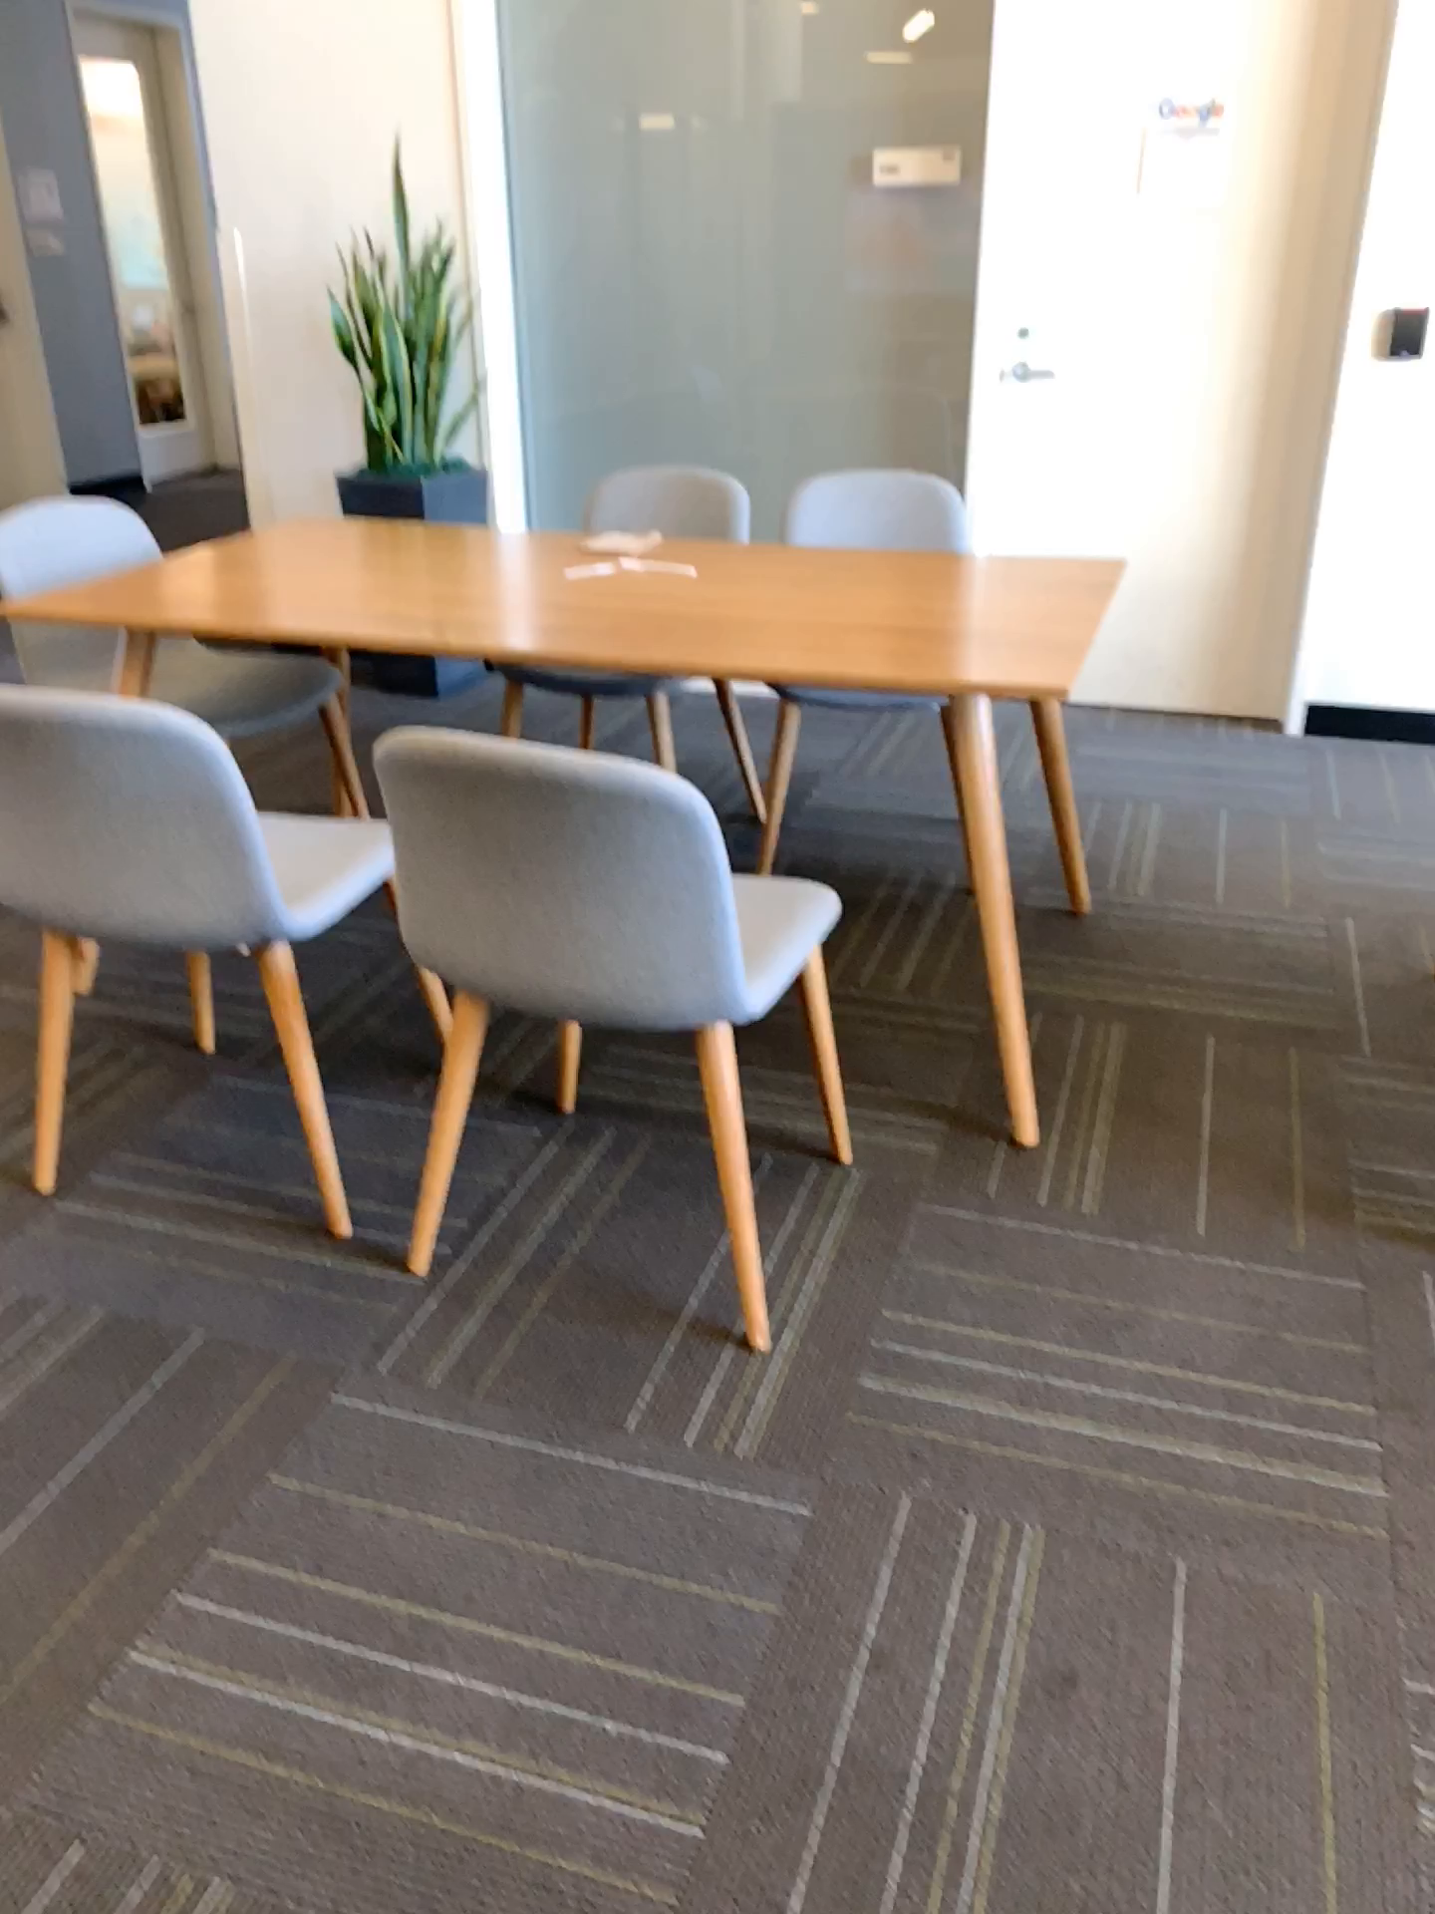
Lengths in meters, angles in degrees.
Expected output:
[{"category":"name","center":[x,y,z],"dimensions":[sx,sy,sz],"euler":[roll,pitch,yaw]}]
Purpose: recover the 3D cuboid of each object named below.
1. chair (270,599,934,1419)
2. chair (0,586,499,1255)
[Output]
[{"category":"chair","center":[-0.101,0.020,1.899],"dimensions":[0.591,0.795,0.573],"euler":[9,27,19]},{"category":"chair","center":[-0.722,-0.086,2.177],"dimensions":[0.571,0.776,0.533],"euler":[7,26,16]}]
